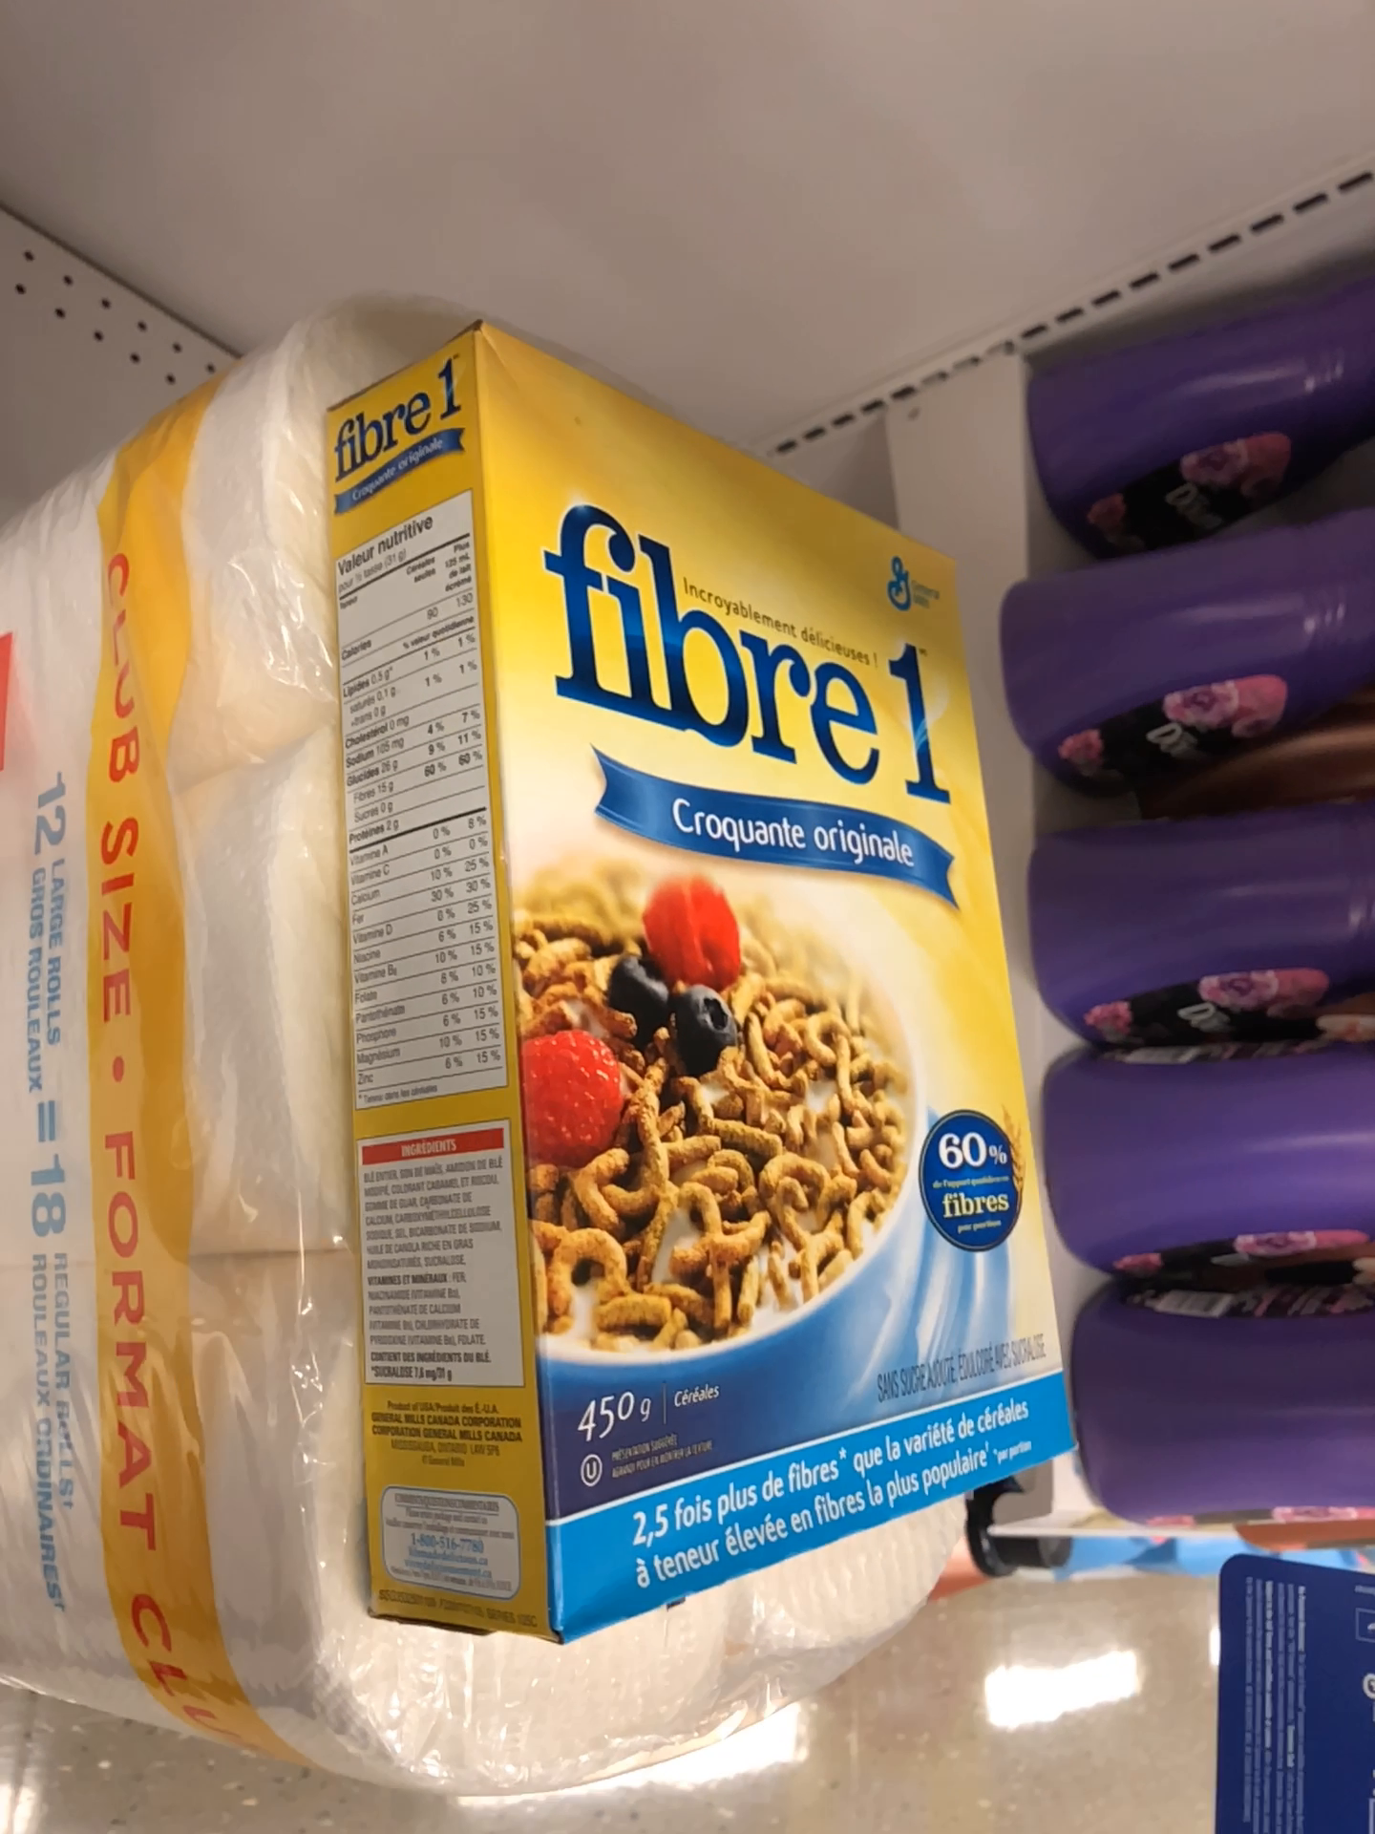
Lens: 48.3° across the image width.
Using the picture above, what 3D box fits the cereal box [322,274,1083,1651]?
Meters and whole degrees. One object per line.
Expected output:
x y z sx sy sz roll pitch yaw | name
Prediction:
0.013 0.012 0.382 0.201 0.060 0.260 8 76 -49 | cereal box
